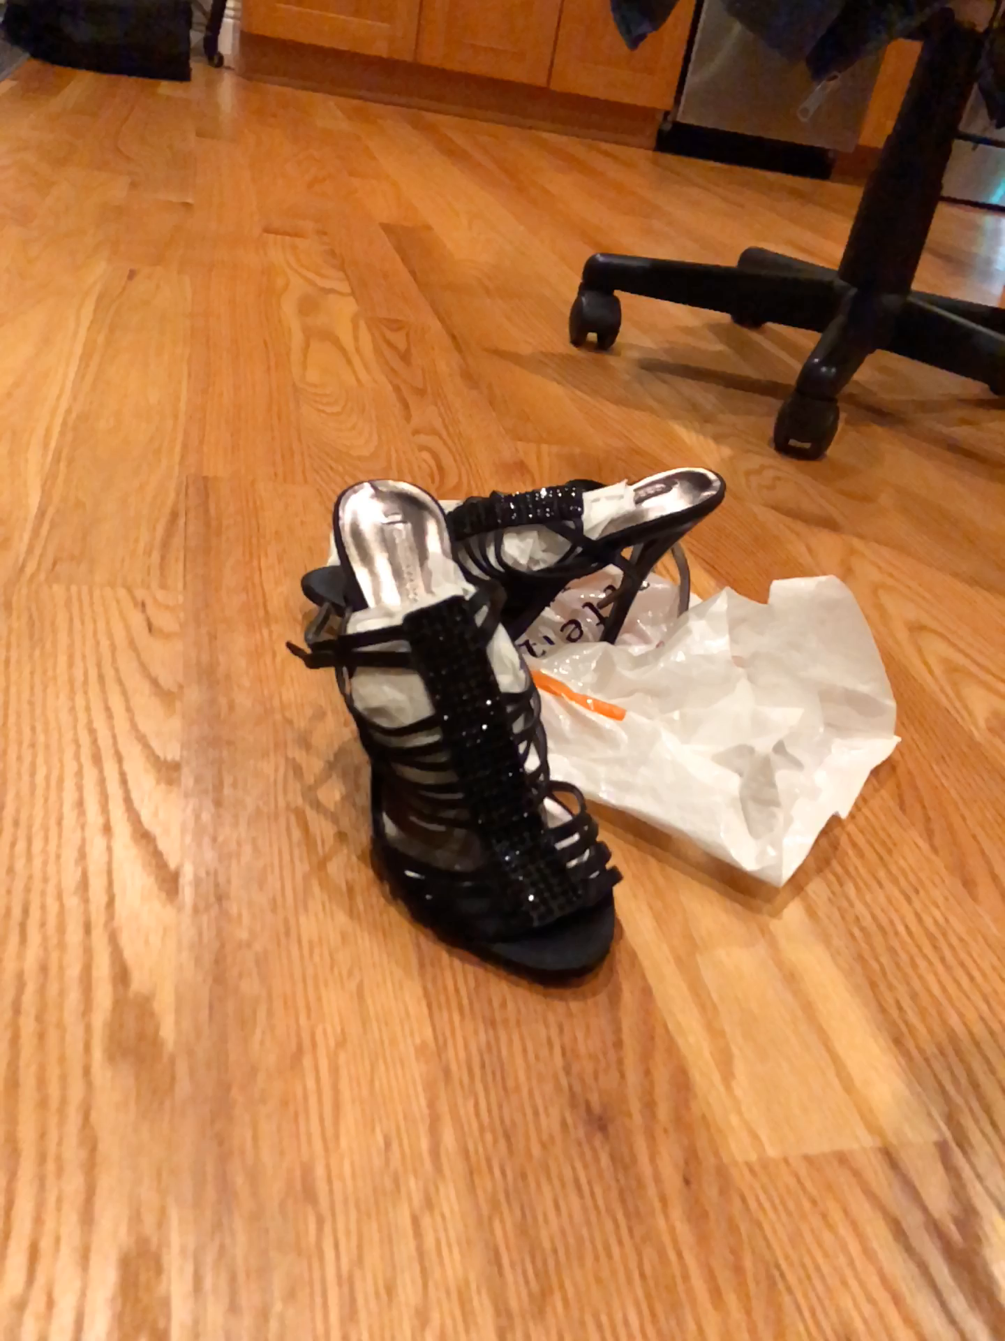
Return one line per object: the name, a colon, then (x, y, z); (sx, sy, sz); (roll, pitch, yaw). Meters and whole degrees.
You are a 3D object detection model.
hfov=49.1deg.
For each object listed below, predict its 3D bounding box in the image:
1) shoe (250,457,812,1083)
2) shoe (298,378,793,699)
shoe: (-0.010, 0.017, 0.410); (0.090, 0.112, 0.218); (-9, 36, -31)
shoe: (0.012, -0.064, 0.552); (0.217, 0.112, 0.092); (4, 31, -12)
